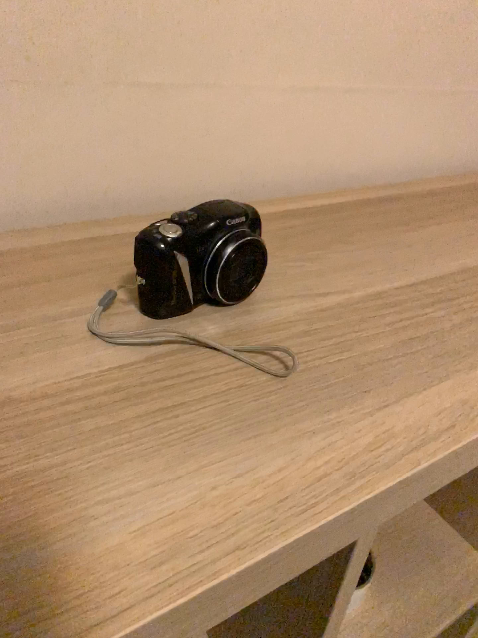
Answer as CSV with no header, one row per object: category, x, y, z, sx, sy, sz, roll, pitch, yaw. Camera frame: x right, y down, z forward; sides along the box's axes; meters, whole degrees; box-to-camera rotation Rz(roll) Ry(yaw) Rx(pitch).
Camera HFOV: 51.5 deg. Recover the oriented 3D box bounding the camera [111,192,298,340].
camera,-0.023,-0.046,0.367,0.068,0.059,0.121,28,37,32
